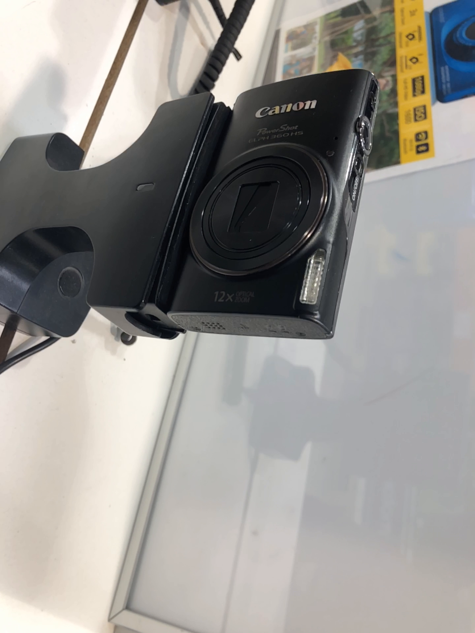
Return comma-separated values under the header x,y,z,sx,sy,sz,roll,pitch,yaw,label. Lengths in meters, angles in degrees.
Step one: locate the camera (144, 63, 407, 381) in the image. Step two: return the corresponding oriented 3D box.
x,y,z,sx,sy,sz,roll,pitch,yaw,label
0.018,-0.035,0.197,0.030,0.070,0.110,47,50,-51,camera
